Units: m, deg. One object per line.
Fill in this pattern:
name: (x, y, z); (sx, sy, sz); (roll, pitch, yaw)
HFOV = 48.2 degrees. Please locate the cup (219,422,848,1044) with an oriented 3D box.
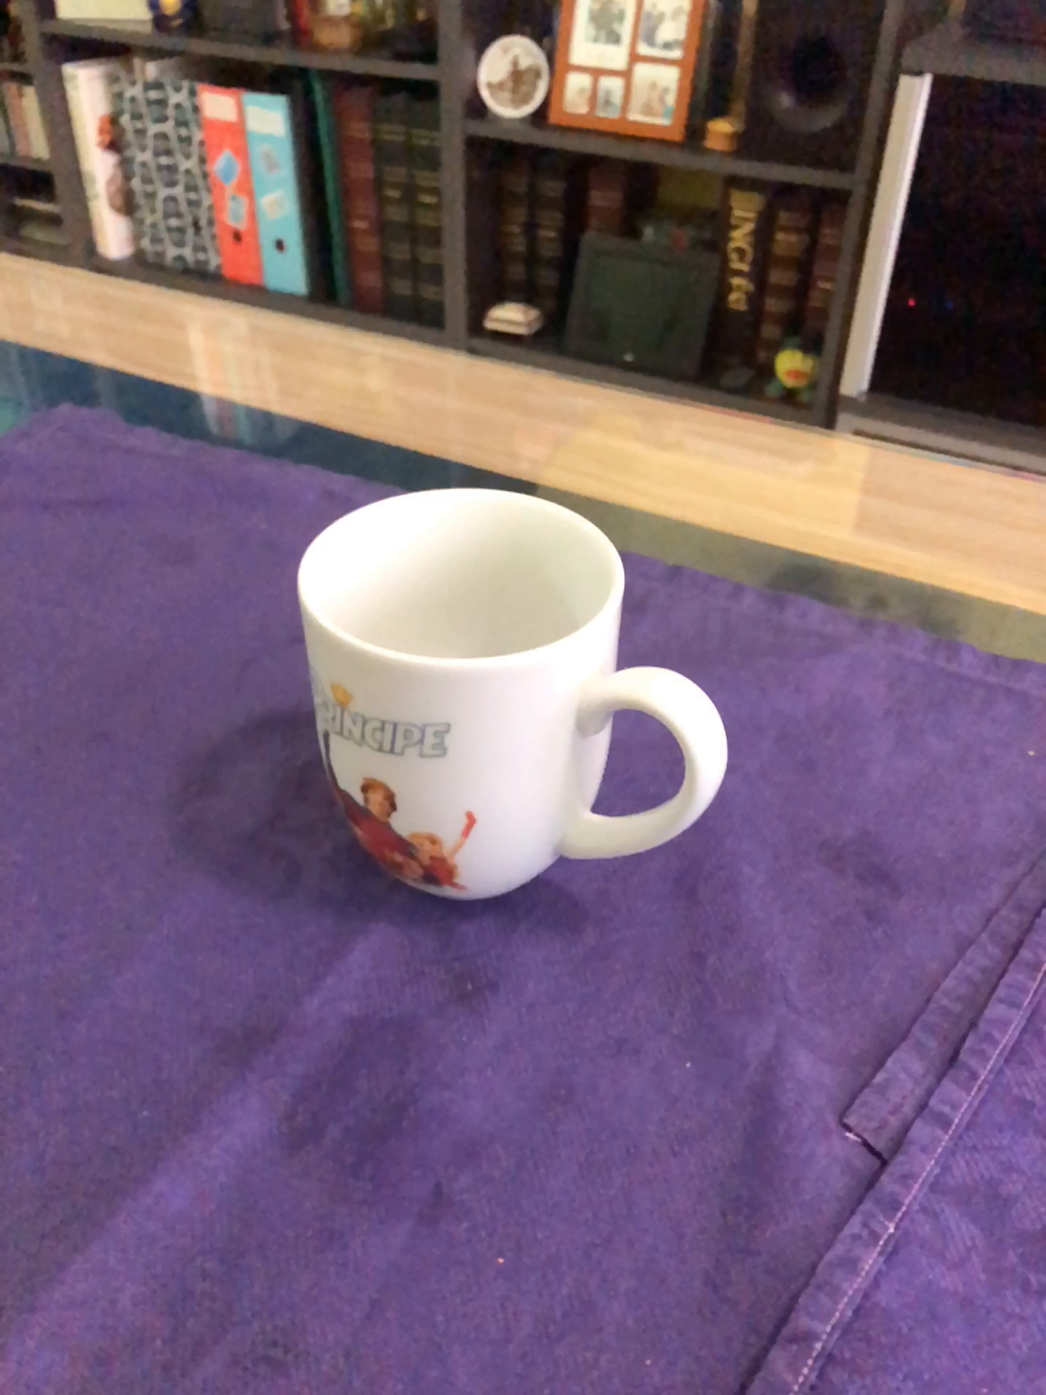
cup: (0.001, 0.002, 0.295); (0.120, 0.090, 0.080); (25, 44, 28)
